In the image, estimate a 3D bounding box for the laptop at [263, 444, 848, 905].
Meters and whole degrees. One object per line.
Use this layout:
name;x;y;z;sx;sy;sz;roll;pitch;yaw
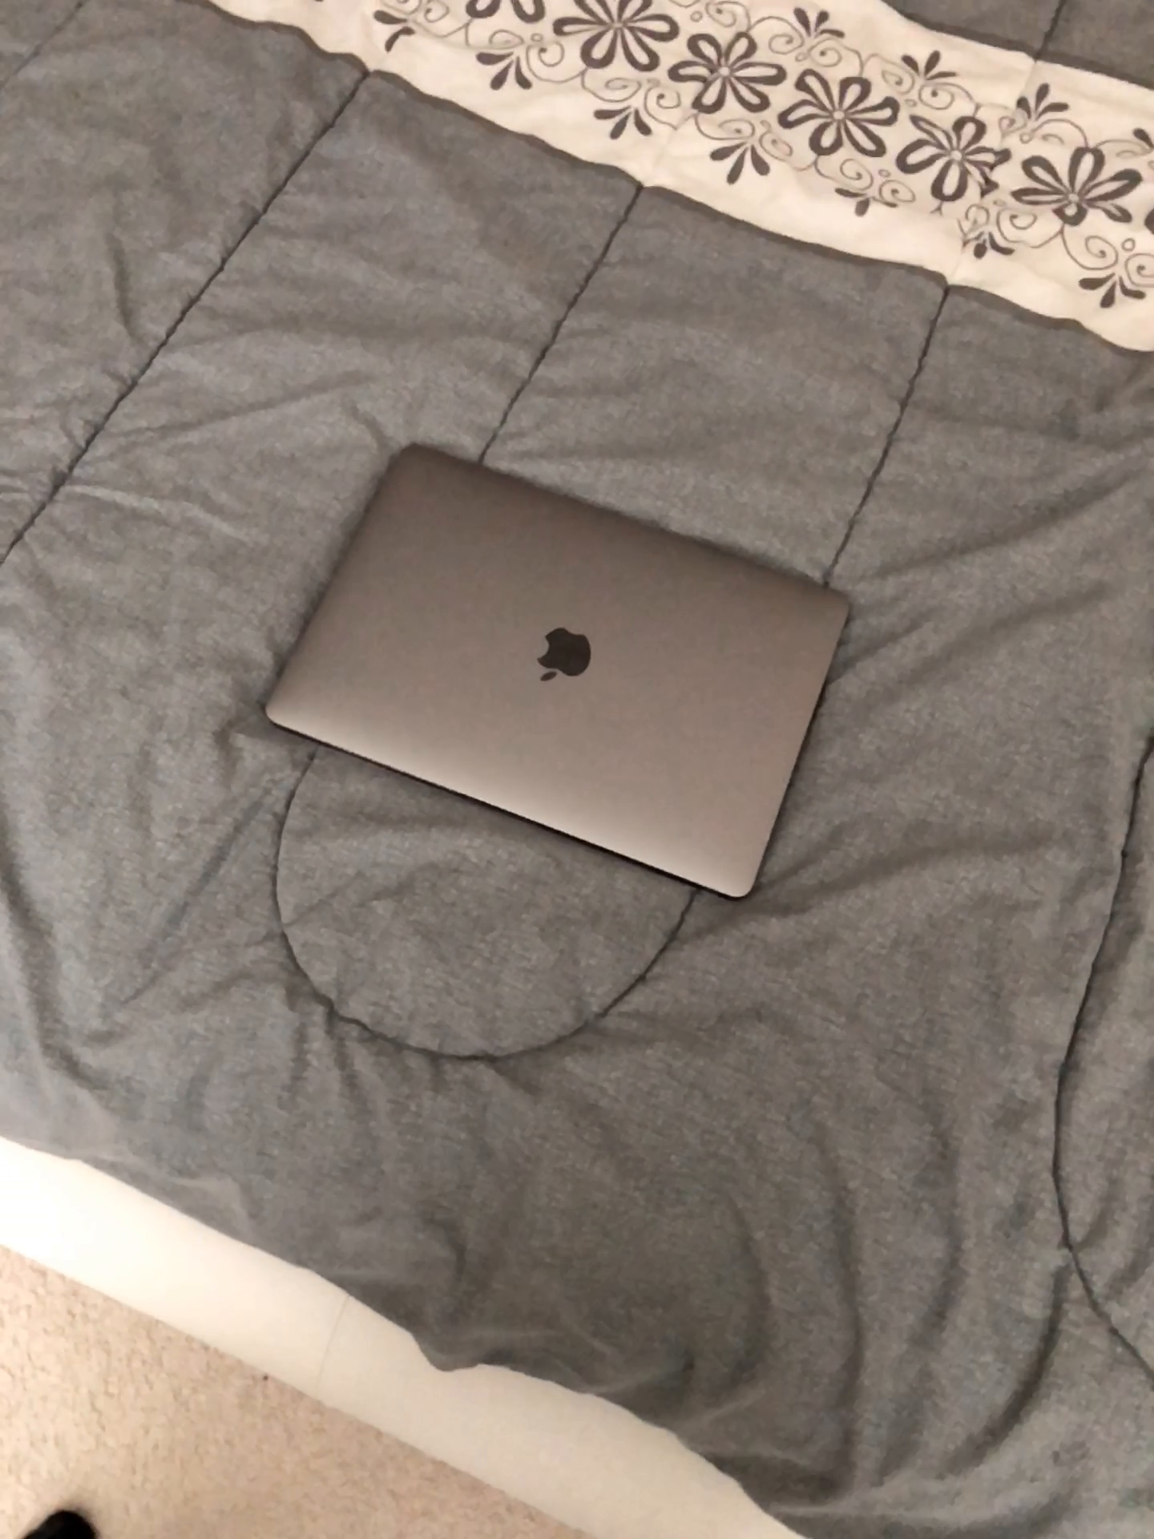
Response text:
laptop;-0.008;-0.066;0.766;0.295;0.008;0.207;20;70;6
